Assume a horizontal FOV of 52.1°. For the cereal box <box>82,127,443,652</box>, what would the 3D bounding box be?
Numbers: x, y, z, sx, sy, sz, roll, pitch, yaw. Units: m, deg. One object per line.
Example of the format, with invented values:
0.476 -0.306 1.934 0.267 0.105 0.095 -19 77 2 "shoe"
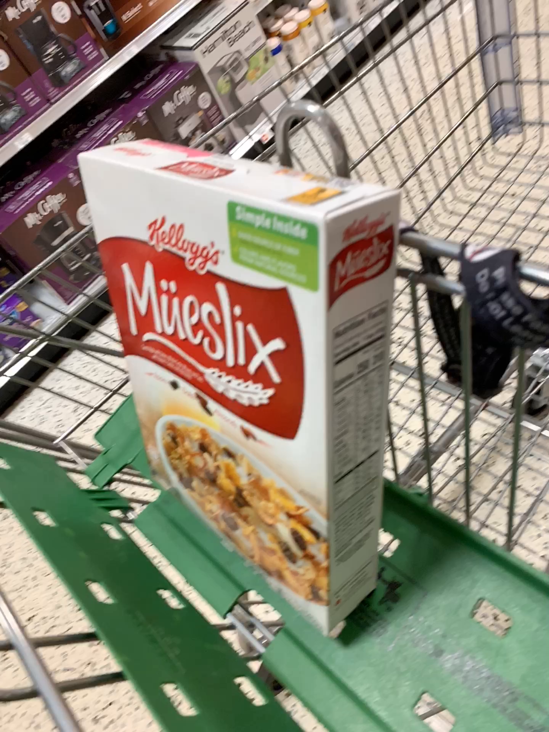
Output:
-0.014 0.009 0.348 0.060 0.268 0.201 -28 39 -34 "cereal box"
